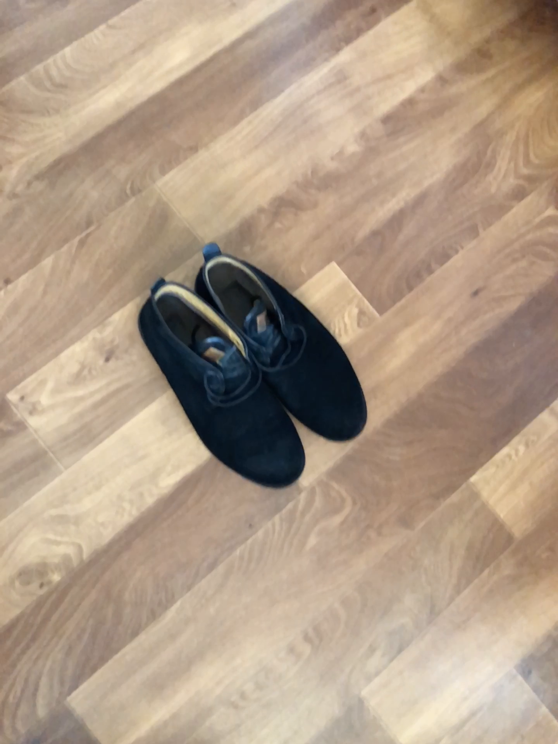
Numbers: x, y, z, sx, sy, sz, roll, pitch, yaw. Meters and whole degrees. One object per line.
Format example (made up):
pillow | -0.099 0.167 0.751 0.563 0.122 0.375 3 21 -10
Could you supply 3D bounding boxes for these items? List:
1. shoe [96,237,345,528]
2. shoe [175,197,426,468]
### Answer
shoe | -0.067 0.016 0.688 0.110 0.130 0.290 -34 87 -10
shoe | 0.017 -0.036 0.714 0.110 0.130 0.290 -40 88 -10
